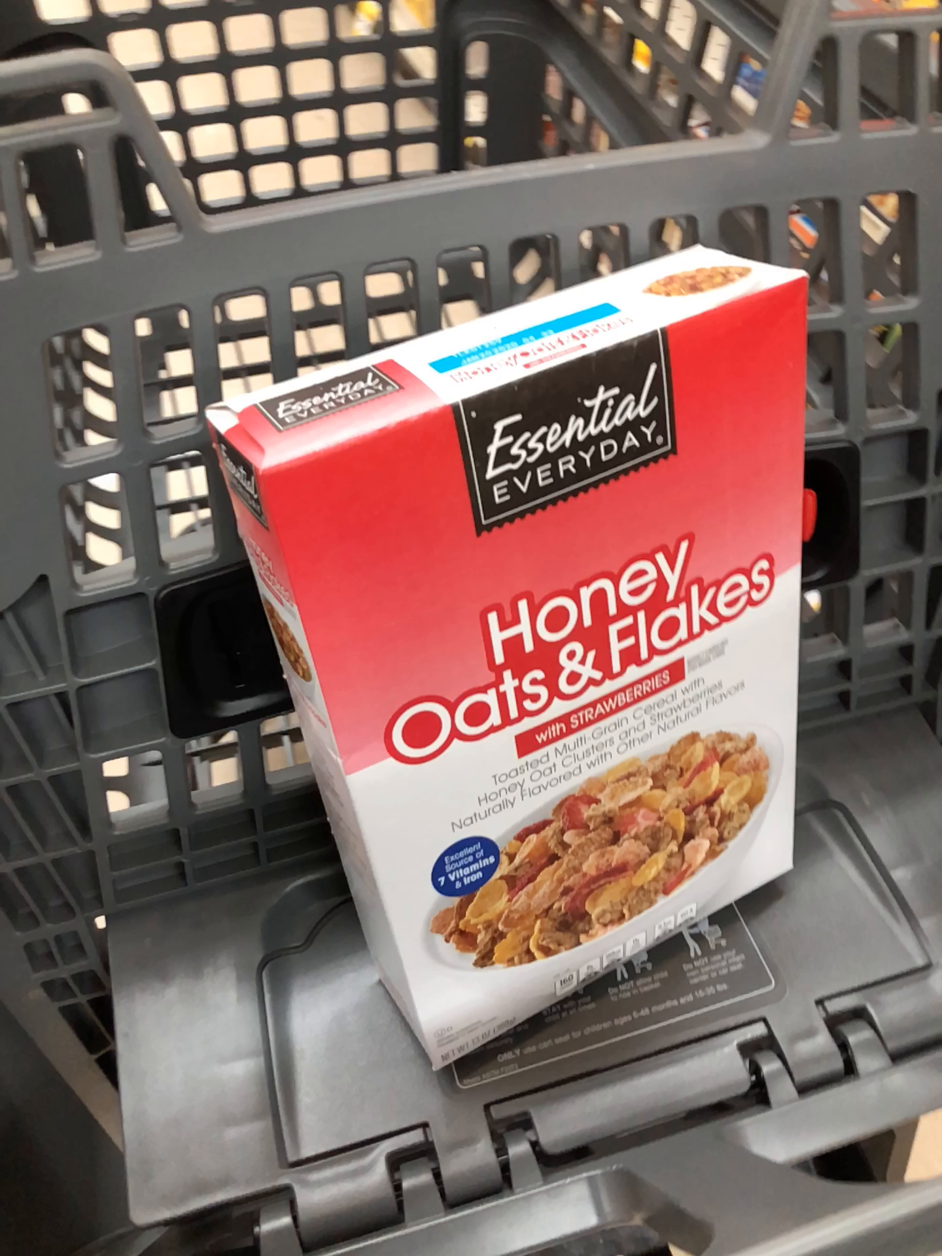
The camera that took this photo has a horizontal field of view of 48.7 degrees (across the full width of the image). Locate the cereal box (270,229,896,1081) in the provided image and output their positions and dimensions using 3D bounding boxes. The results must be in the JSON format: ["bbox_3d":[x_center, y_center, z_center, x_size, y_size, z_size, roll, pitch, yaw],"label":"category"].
[{"bbox_3d":[0.054,0.016,0.374,0.180,0.260,0.060,-23,35,-20],"label":"cereal box"}]
